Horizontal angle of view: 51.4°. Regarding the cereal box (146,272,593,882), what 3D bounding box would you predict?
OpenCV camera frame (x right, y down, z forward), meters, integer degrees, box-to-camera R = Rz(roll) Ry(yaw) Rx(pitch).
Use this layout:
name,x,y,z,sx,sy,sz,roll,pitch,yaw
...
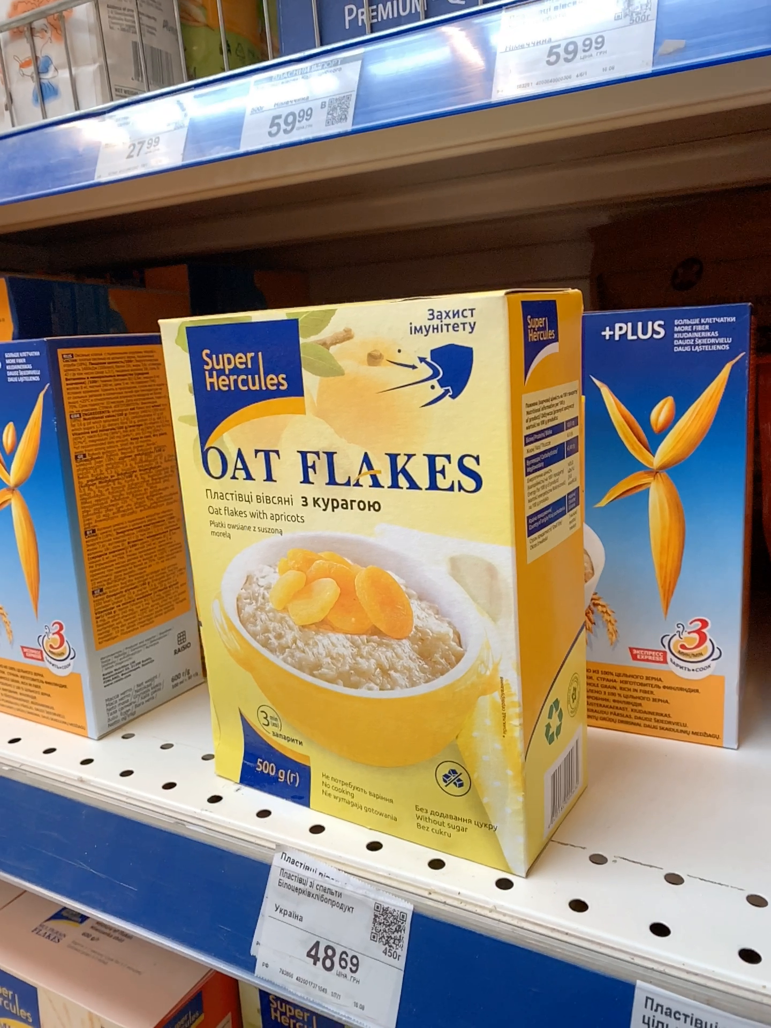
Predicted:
name,x,y,z,sx,sy,sz,roll,pitch,yaw
cereal box,-0.005,0.014,0.304,0.150,0.189,0.060,4,14,32
